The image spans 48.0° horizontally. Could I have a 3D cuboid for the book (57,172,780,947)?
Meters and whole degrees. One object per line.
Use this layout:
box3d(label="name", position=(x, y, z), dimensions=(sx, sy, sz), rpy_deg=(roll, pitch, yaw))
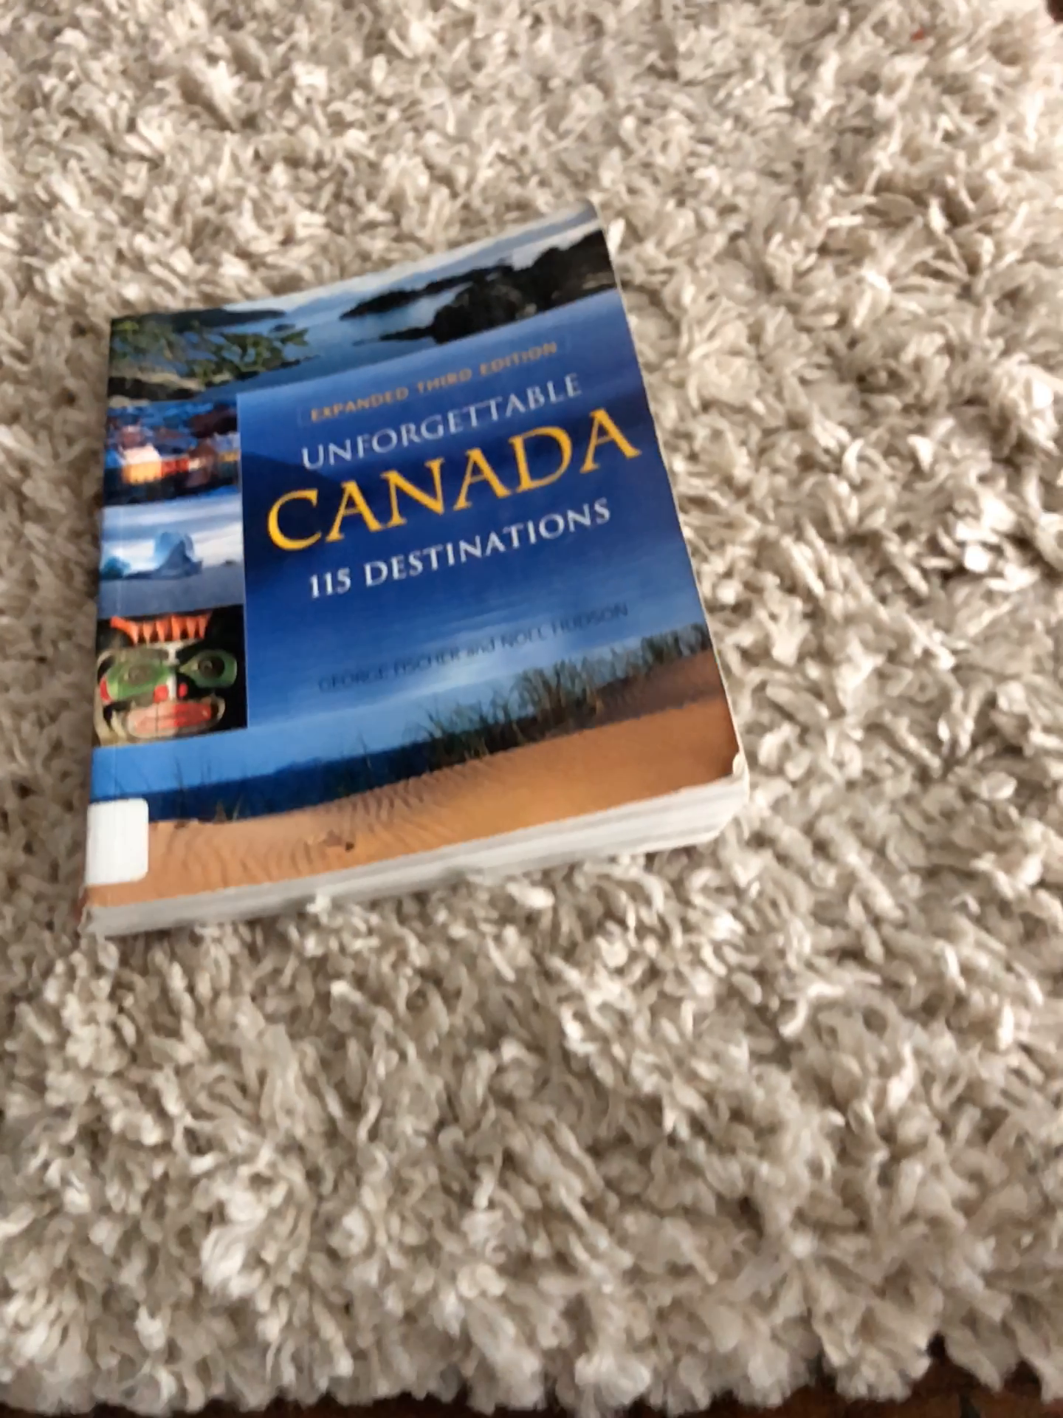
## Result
box3d(label="book", position=(-0.046, -0.059, 0.393), dimensions=(0.200, 0.040, 0.234), rpy_deg=(-12, 61, 6))
